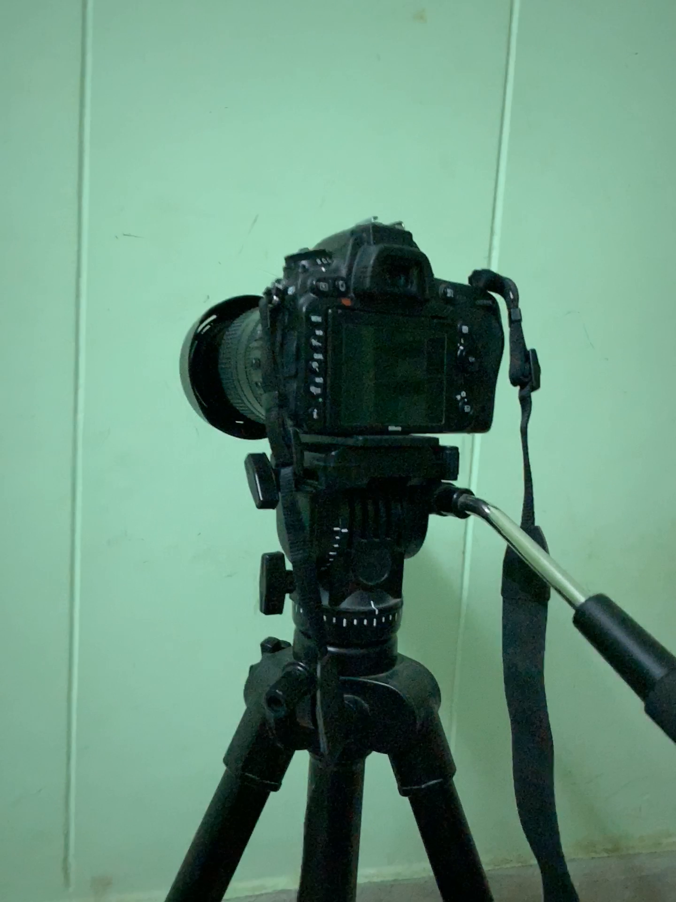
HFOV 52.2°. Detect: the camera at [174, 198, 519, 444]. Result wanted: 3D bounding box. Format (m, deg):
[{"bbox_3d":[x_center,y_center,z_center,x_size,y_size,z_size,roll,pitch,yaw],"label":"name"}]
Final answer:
[{"bbox_3d":[-0.006,-0.074,0.445,0.140,0.117,0.182,-1,8,-32],"label":"camera"}]
